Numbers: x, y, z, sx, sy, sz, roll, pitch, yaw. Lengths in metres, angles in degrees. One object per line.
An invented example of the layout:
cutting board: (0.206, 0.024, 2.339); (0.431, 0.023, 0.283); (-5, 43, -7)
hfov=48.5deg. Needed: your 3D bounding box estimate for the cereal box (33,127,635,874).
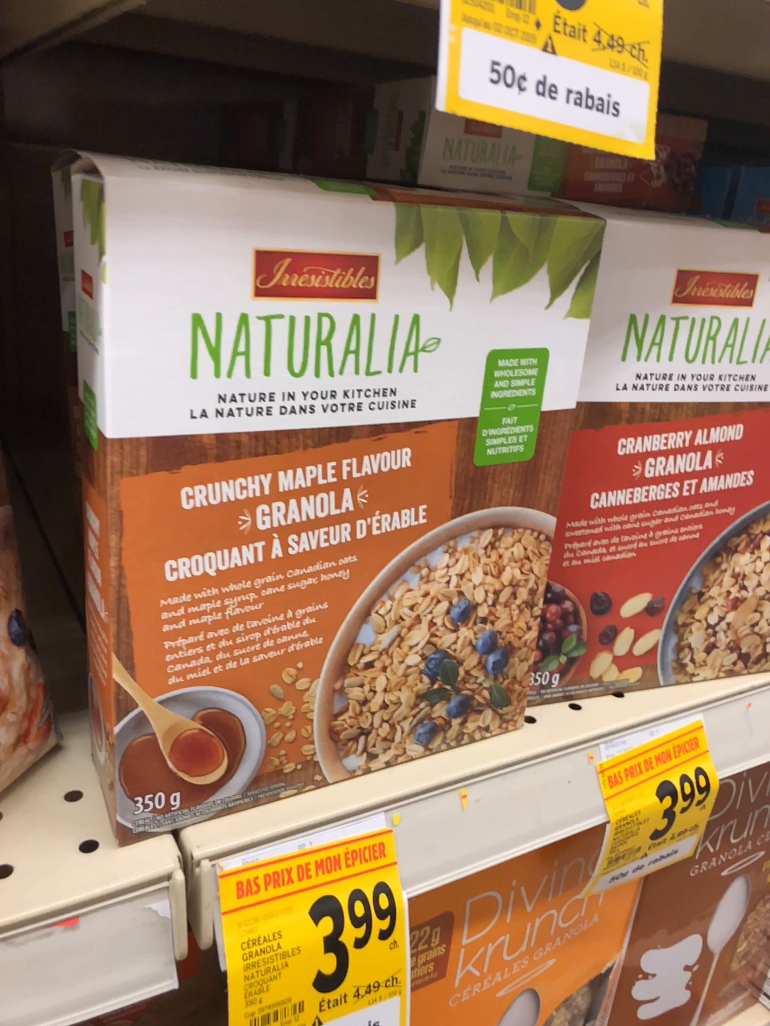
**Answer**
cereal box: (-0.018, -0.005, 0.285); (0.170, 0.209, 0.050); (-7, 25, -30)
